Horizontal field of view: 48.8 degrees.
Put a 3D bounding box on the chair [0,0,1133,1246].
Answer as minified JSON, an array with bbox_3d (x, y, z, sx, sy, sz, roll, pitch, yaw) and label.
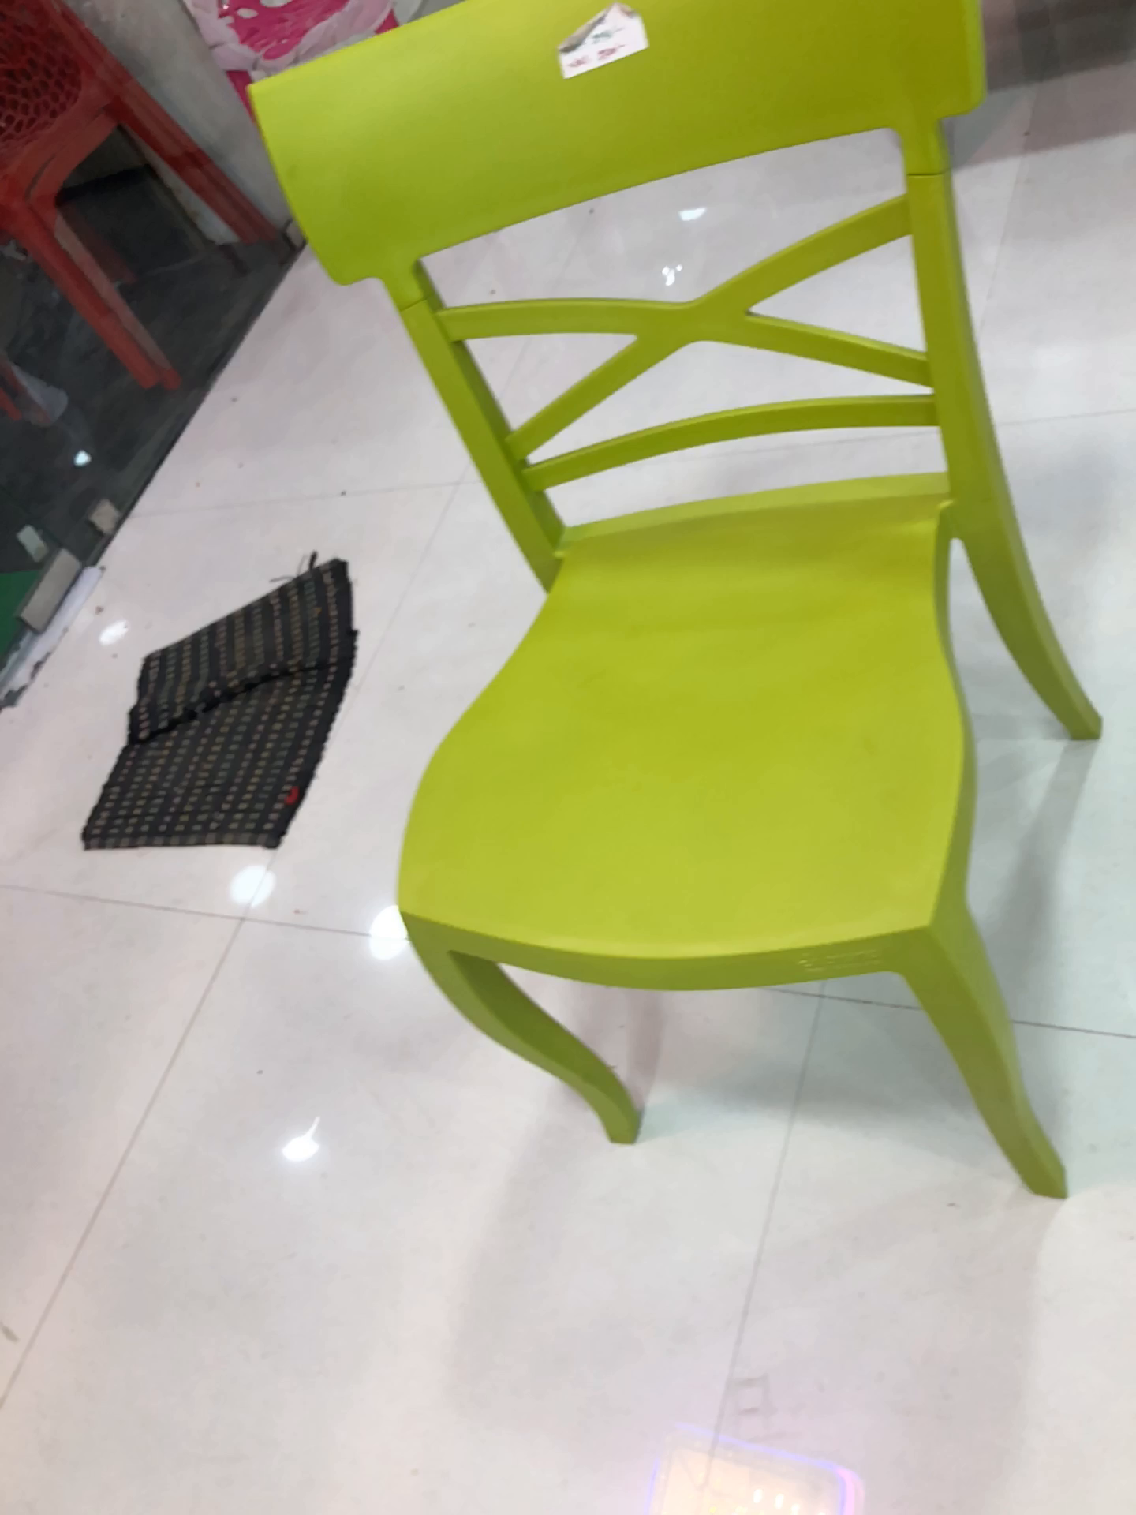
[{"bbox_3d":[0.089,-0.112,0.931,0.500,0.806,0.613,-2,54,30],"label":"chair"}]
